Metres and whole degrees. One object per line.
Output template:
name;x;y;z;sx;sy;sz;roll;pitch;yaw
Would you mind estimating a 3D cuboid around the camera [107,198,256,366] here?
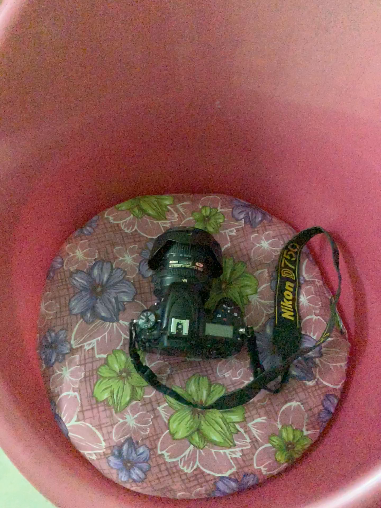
camera;-0.003;0.043;0.545;0.166;0.130;0.191;4;68;4
